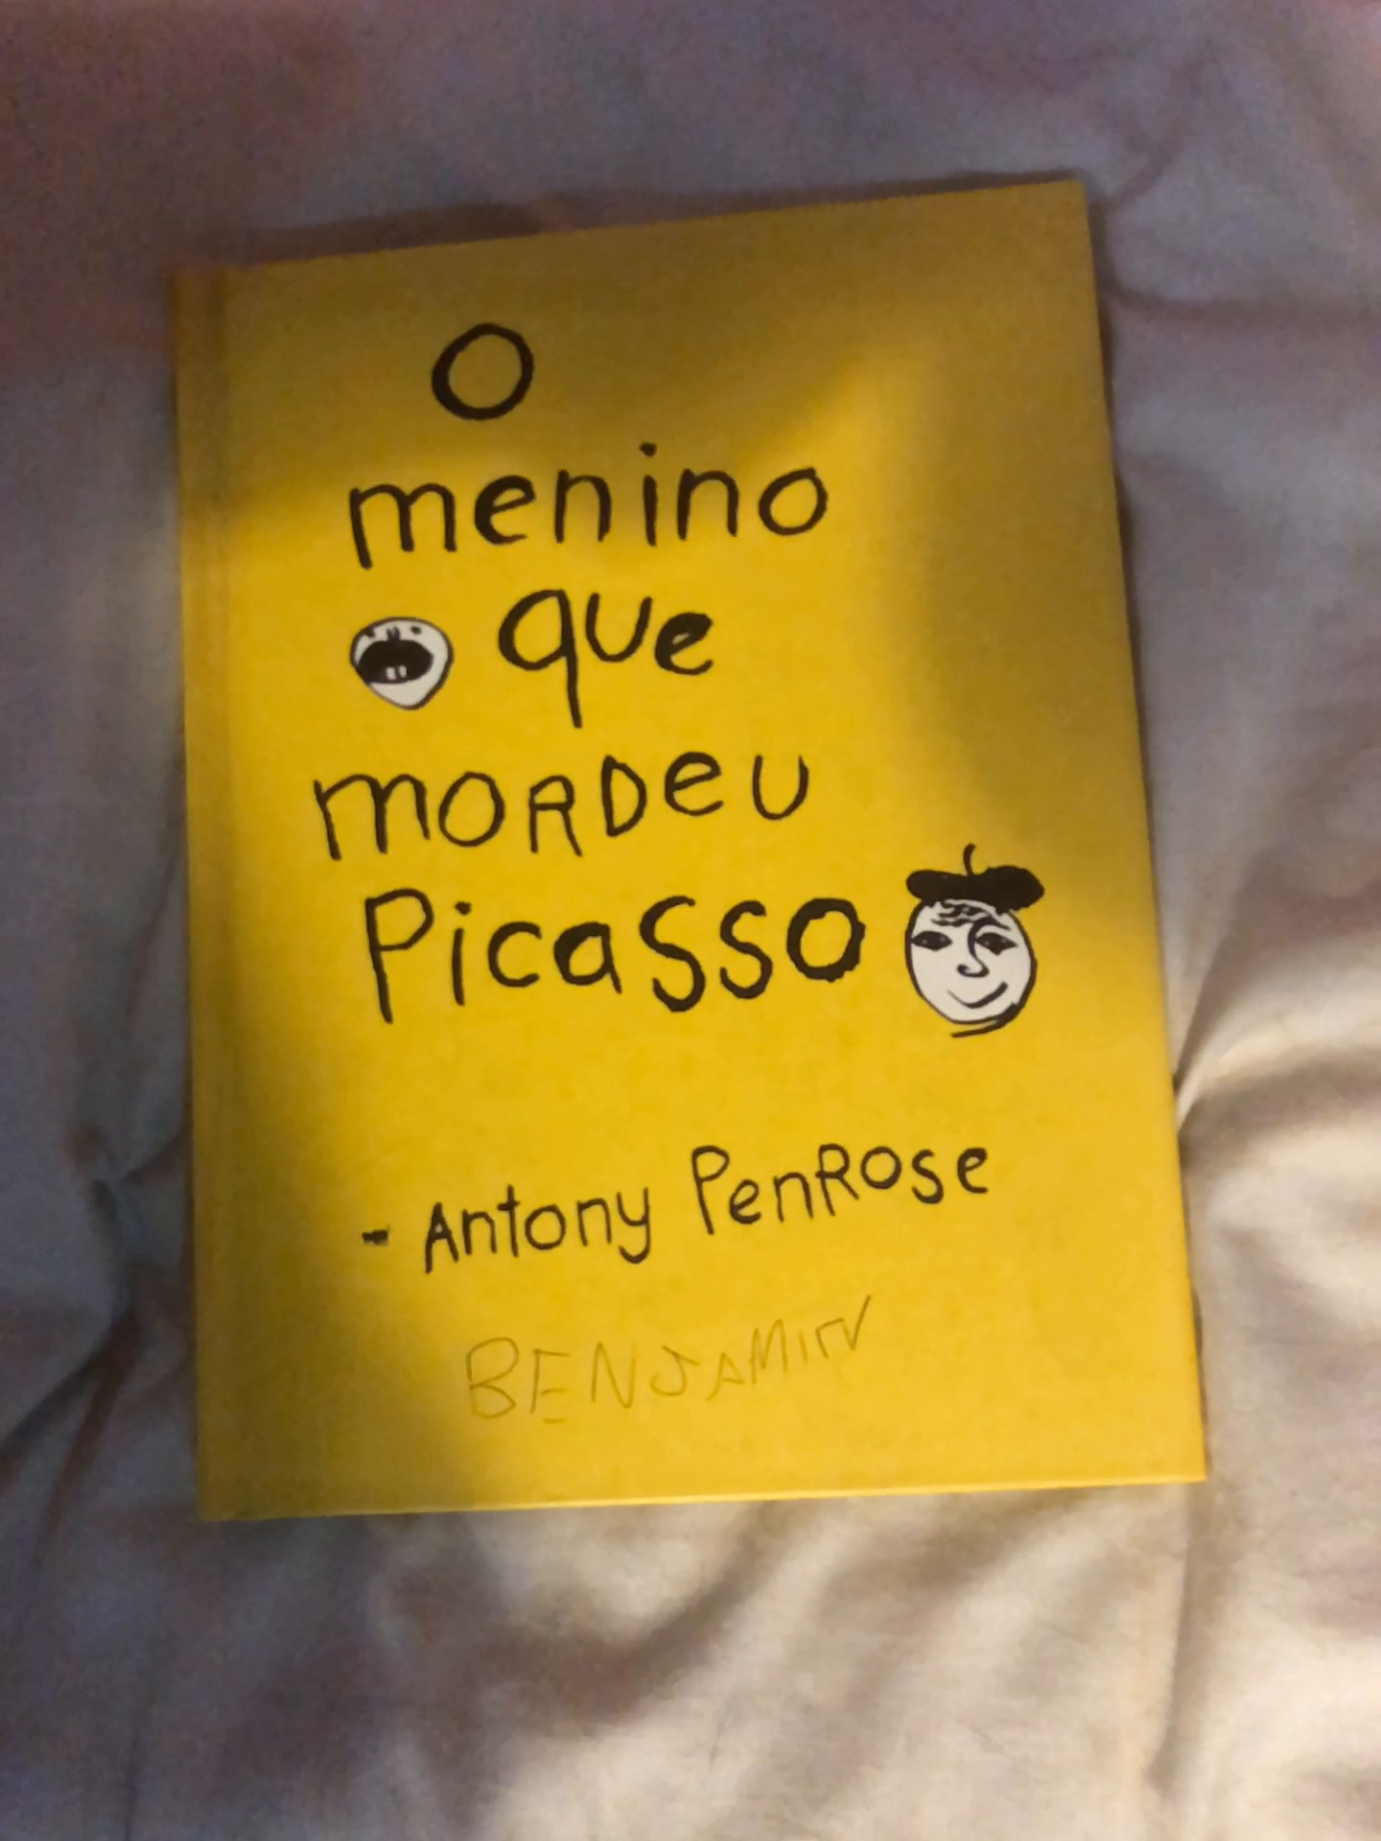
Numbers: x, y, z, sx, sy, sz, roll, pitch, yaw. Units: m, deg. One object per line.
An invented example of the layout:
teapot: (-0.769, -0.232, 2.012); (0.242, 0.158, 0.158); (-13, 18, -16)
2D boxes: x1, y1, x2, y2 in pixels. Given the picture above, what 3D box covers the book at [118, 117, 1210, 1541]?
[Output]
book: (-0.011, -0.017, 0.280); (0.180, 0.024, 0.240); (-3, 84, 5)
